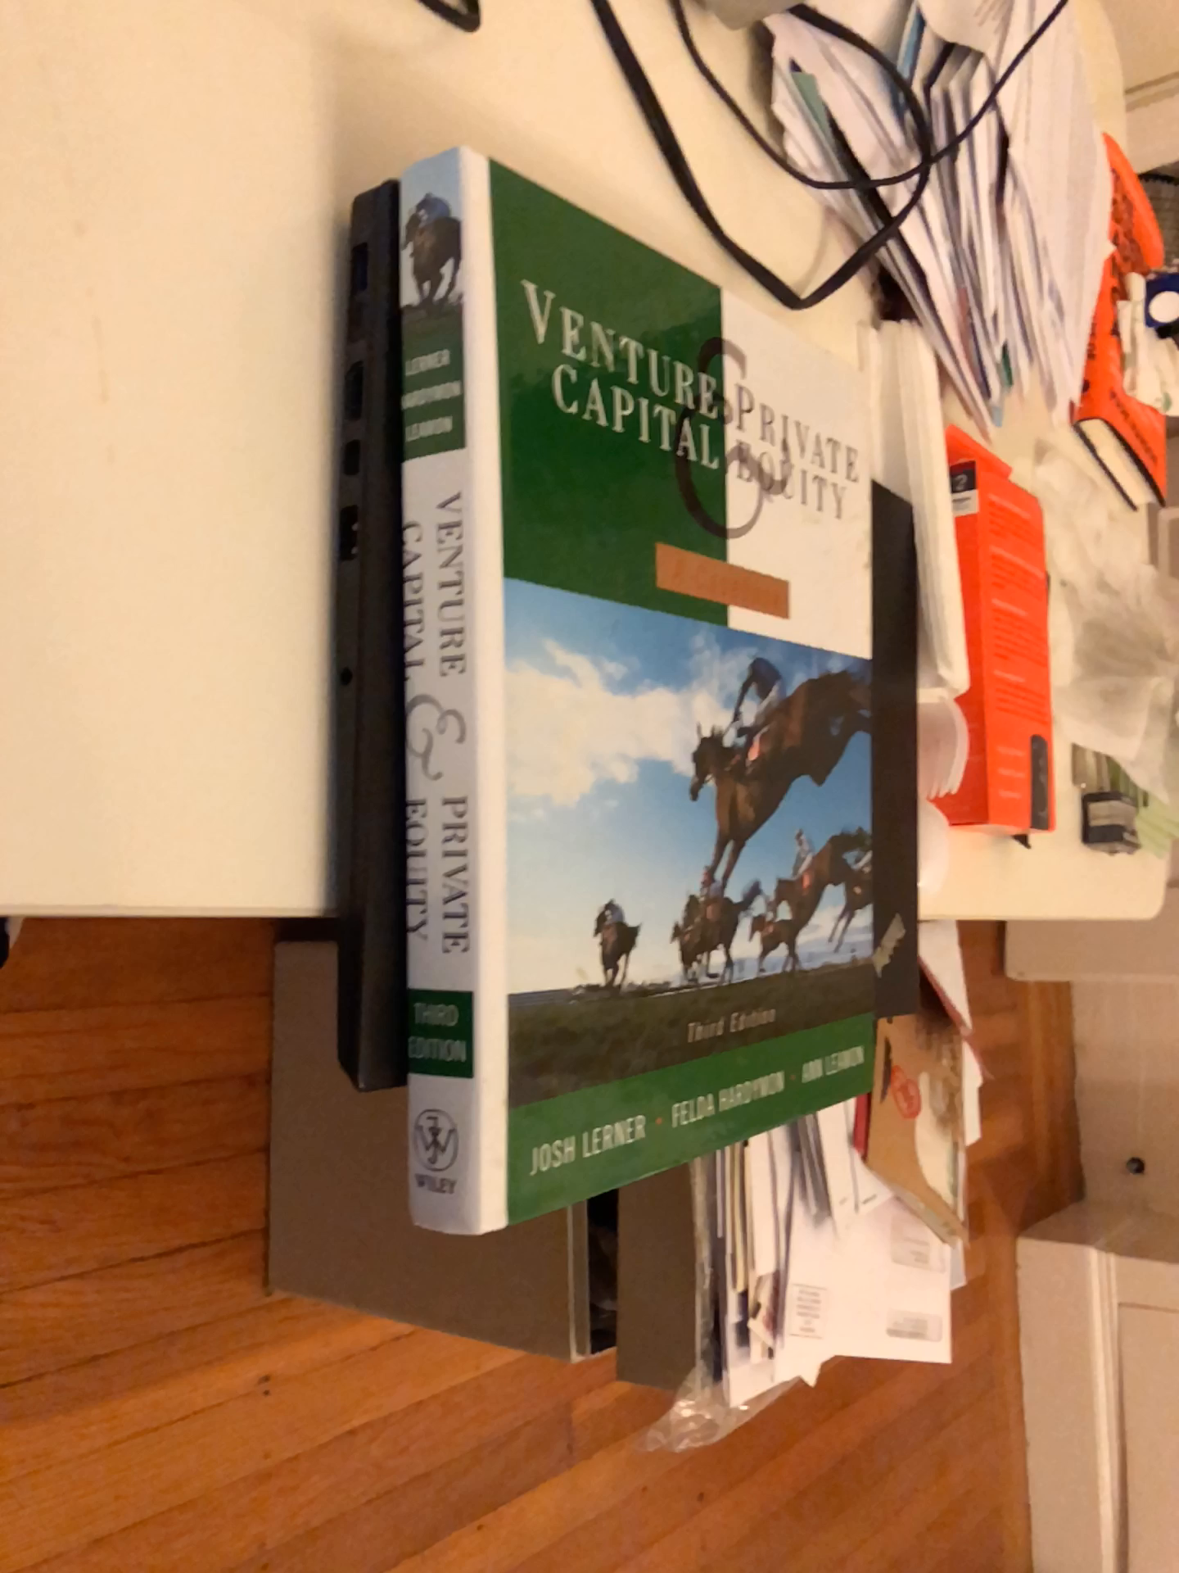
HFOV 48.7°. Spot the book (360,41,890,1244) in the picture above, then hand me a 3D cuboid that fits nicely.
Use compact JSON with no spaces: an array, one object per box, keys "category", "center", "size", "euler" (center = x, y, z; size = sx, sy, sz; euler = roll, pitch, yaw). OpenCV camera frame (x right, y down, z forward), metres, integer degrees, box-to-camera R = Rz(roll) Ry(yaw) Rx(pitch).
[{"category":"book","center":[0.025,-0.032,0.388],"size":[0.221,0.030,0.270],"euler":[3,85,-54]}]
